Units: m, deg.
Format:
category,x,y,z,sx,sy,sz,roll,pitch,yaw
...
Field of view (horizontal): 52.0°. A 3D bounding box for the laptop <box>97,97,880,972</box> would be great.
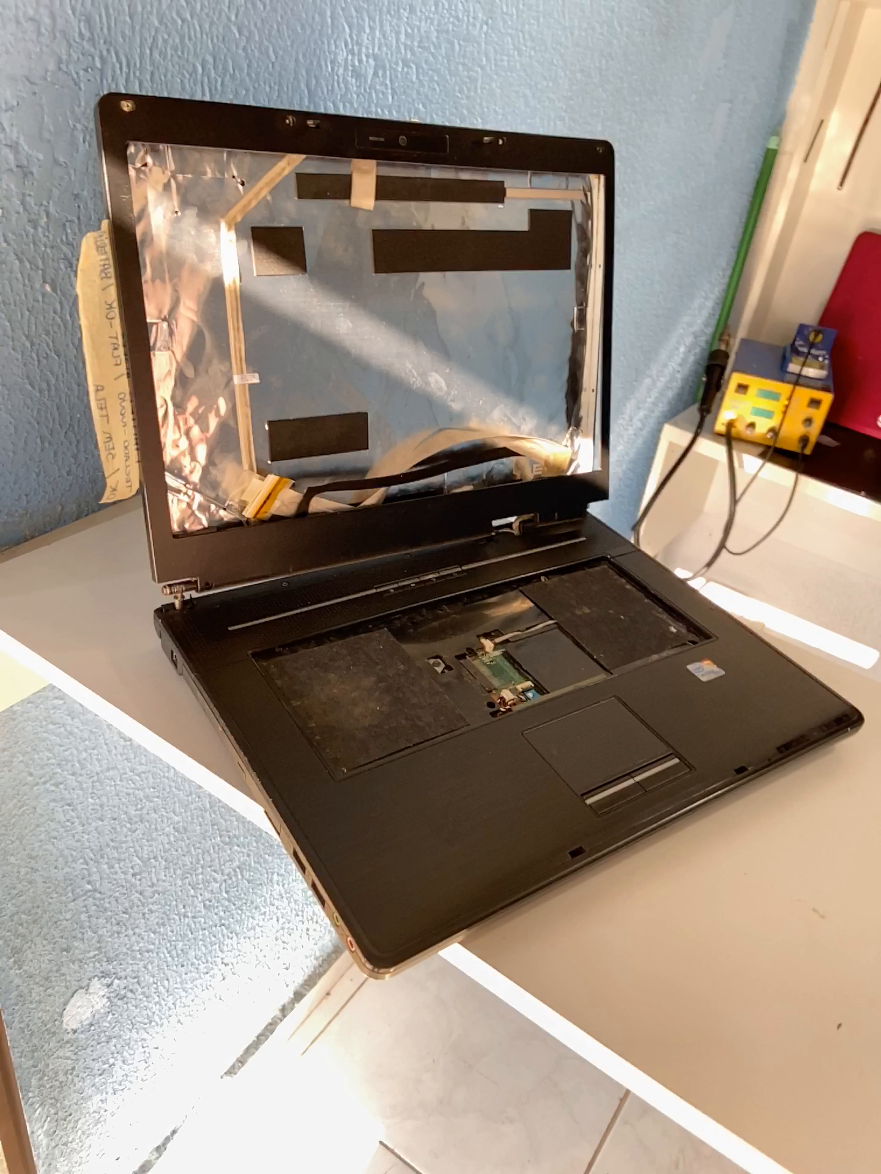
category,x,y,z,sx,sy,sz,roll,pitch,yaw
laptop,0.044,-0.085,0.511,0.353,0.261,0.351,-14,40,-31
